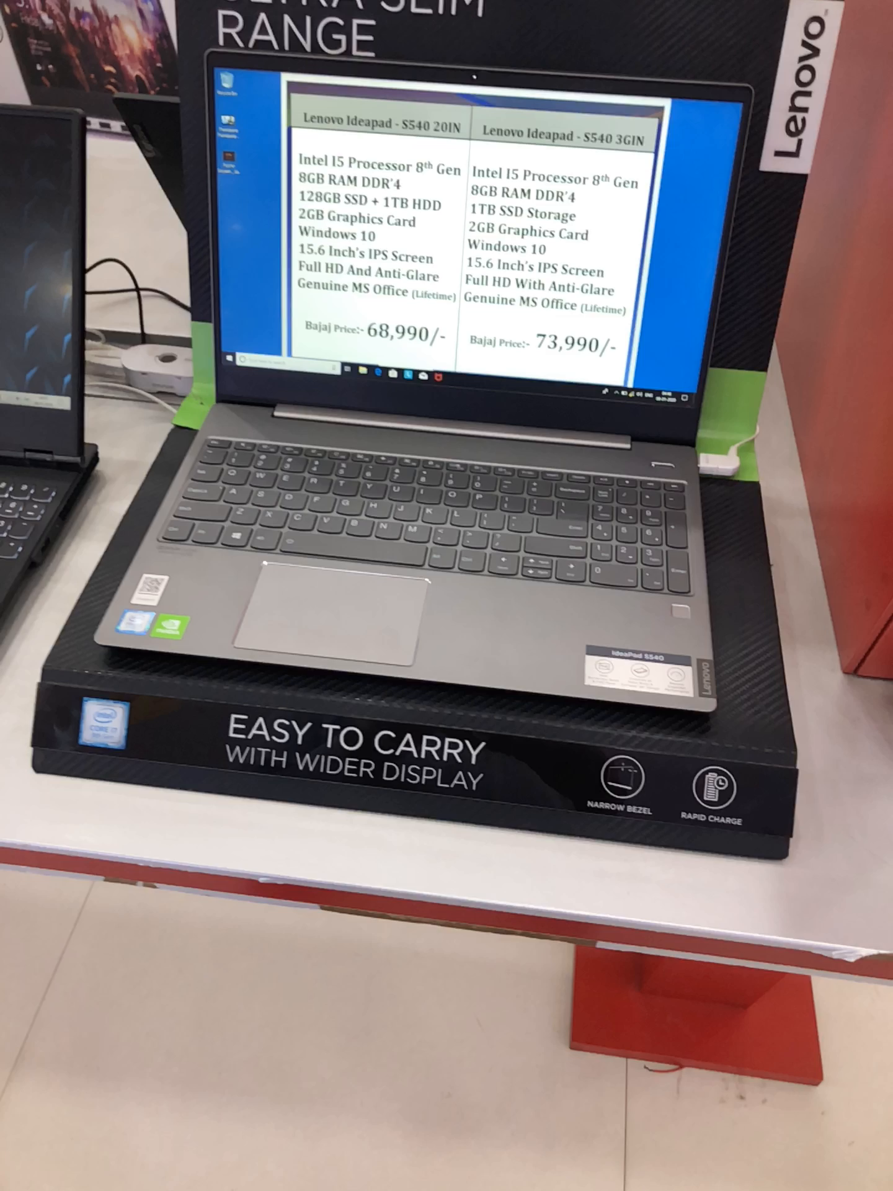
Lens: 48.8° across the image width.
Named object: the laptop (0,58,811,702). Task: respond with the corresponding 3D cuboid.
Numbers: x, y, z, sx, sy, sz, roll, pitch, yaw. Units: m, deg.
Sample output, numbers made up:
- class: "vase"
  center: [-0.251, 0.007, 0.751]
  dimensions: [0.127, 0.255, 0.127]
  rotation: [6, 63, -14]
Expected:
- class: "laptop"
  center: [-0.004, -0.142, 0.575]
  dimensions: [0.335, 0.194, 0.326]
  rotation: [6, 47, 4]
